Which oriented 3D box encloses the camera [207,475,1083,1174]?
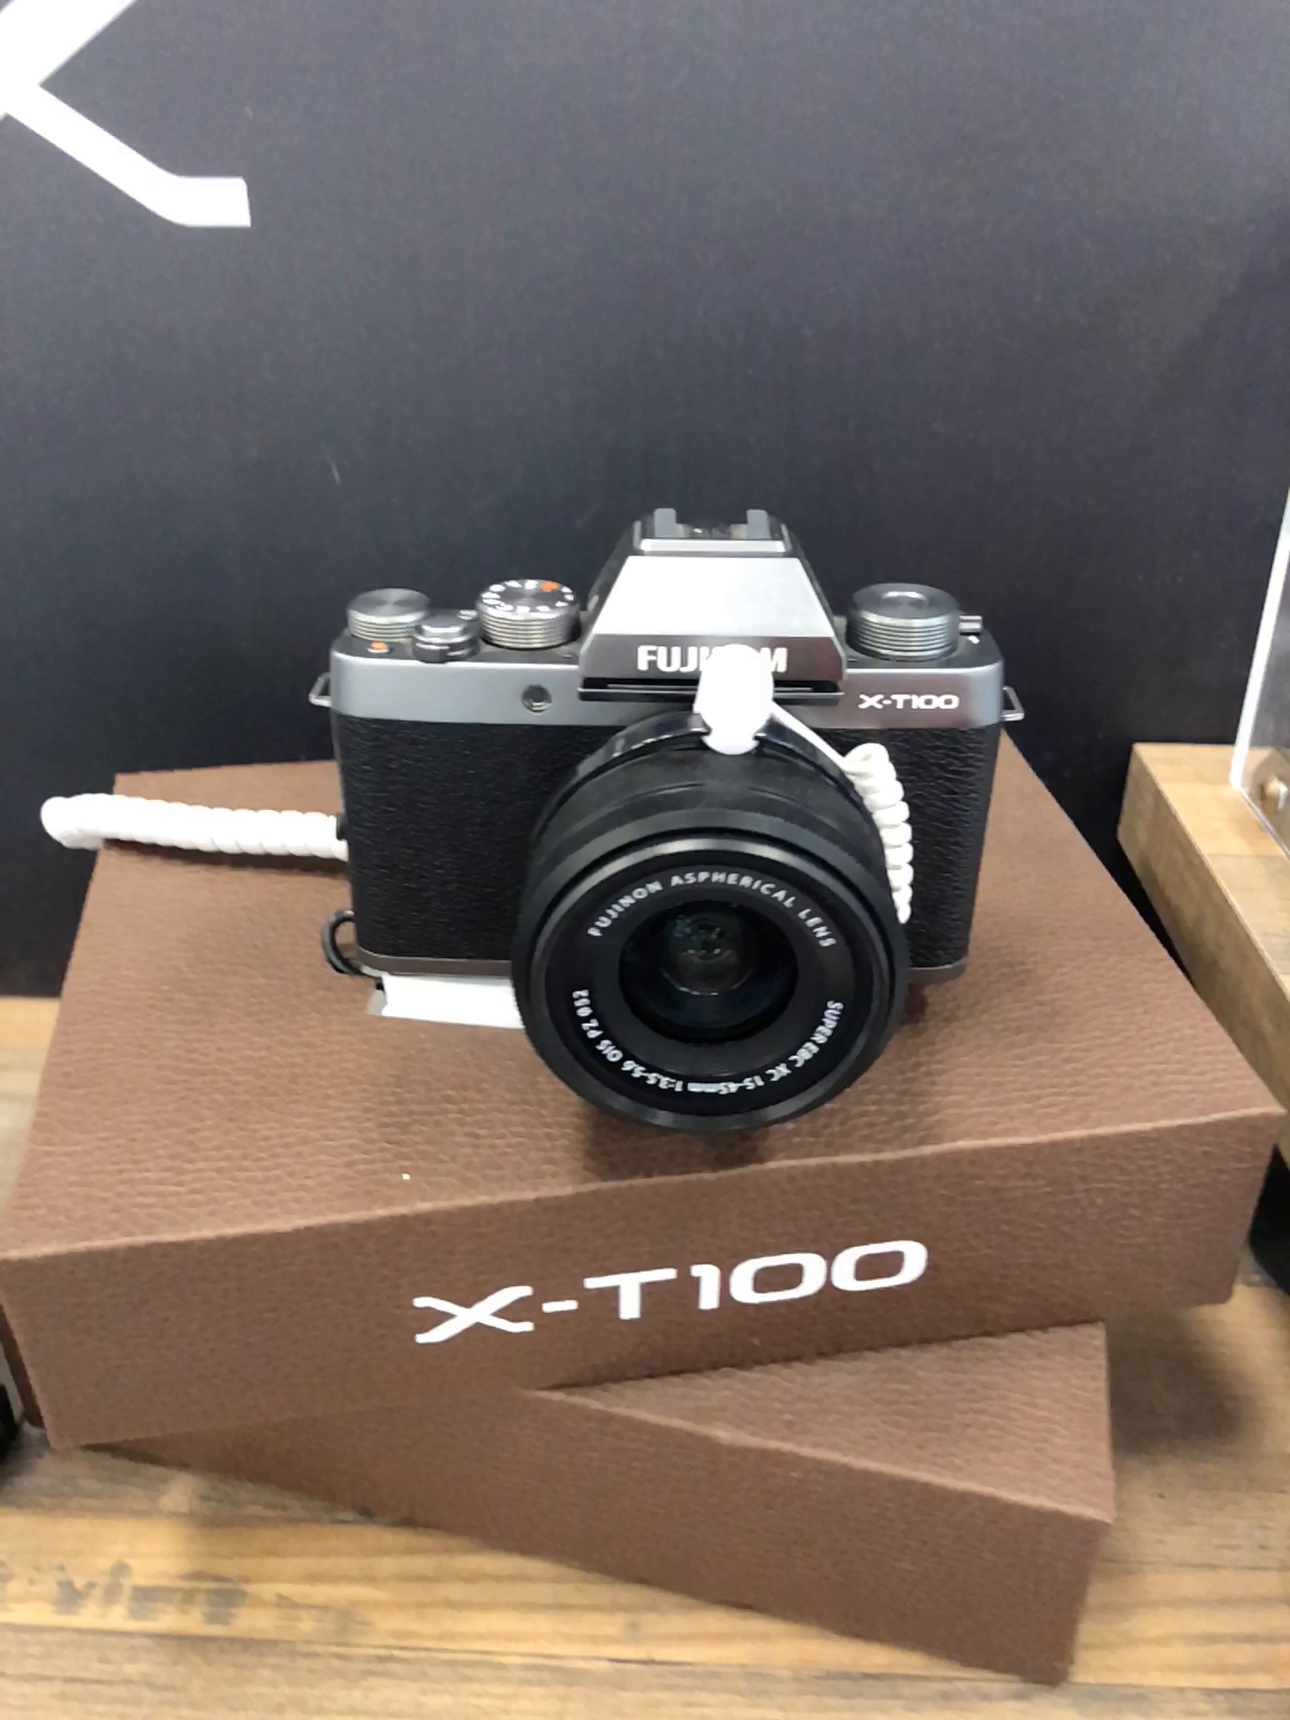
[{"bbox_3d":[0.001,-0.011,0.259,0.120,0.090,0.090,2,30,2],"label":"camera"}]
